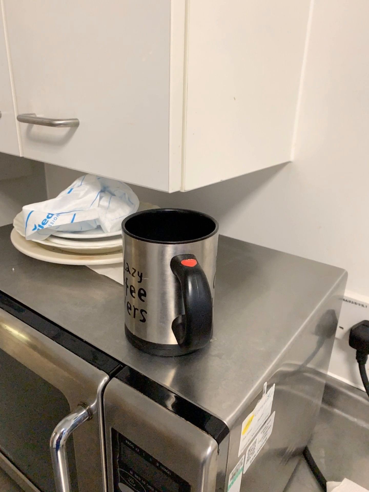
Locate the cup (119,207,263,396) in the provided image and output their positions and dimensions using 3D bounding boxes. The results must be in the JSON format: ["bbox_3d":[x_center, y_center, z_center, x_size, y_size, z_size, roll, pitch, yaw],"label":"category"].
[{"bbox_3d":[-0.006,0.038,0.345,0.096,0.108,0.134,-3,22,-12],"label":"cup"}]
